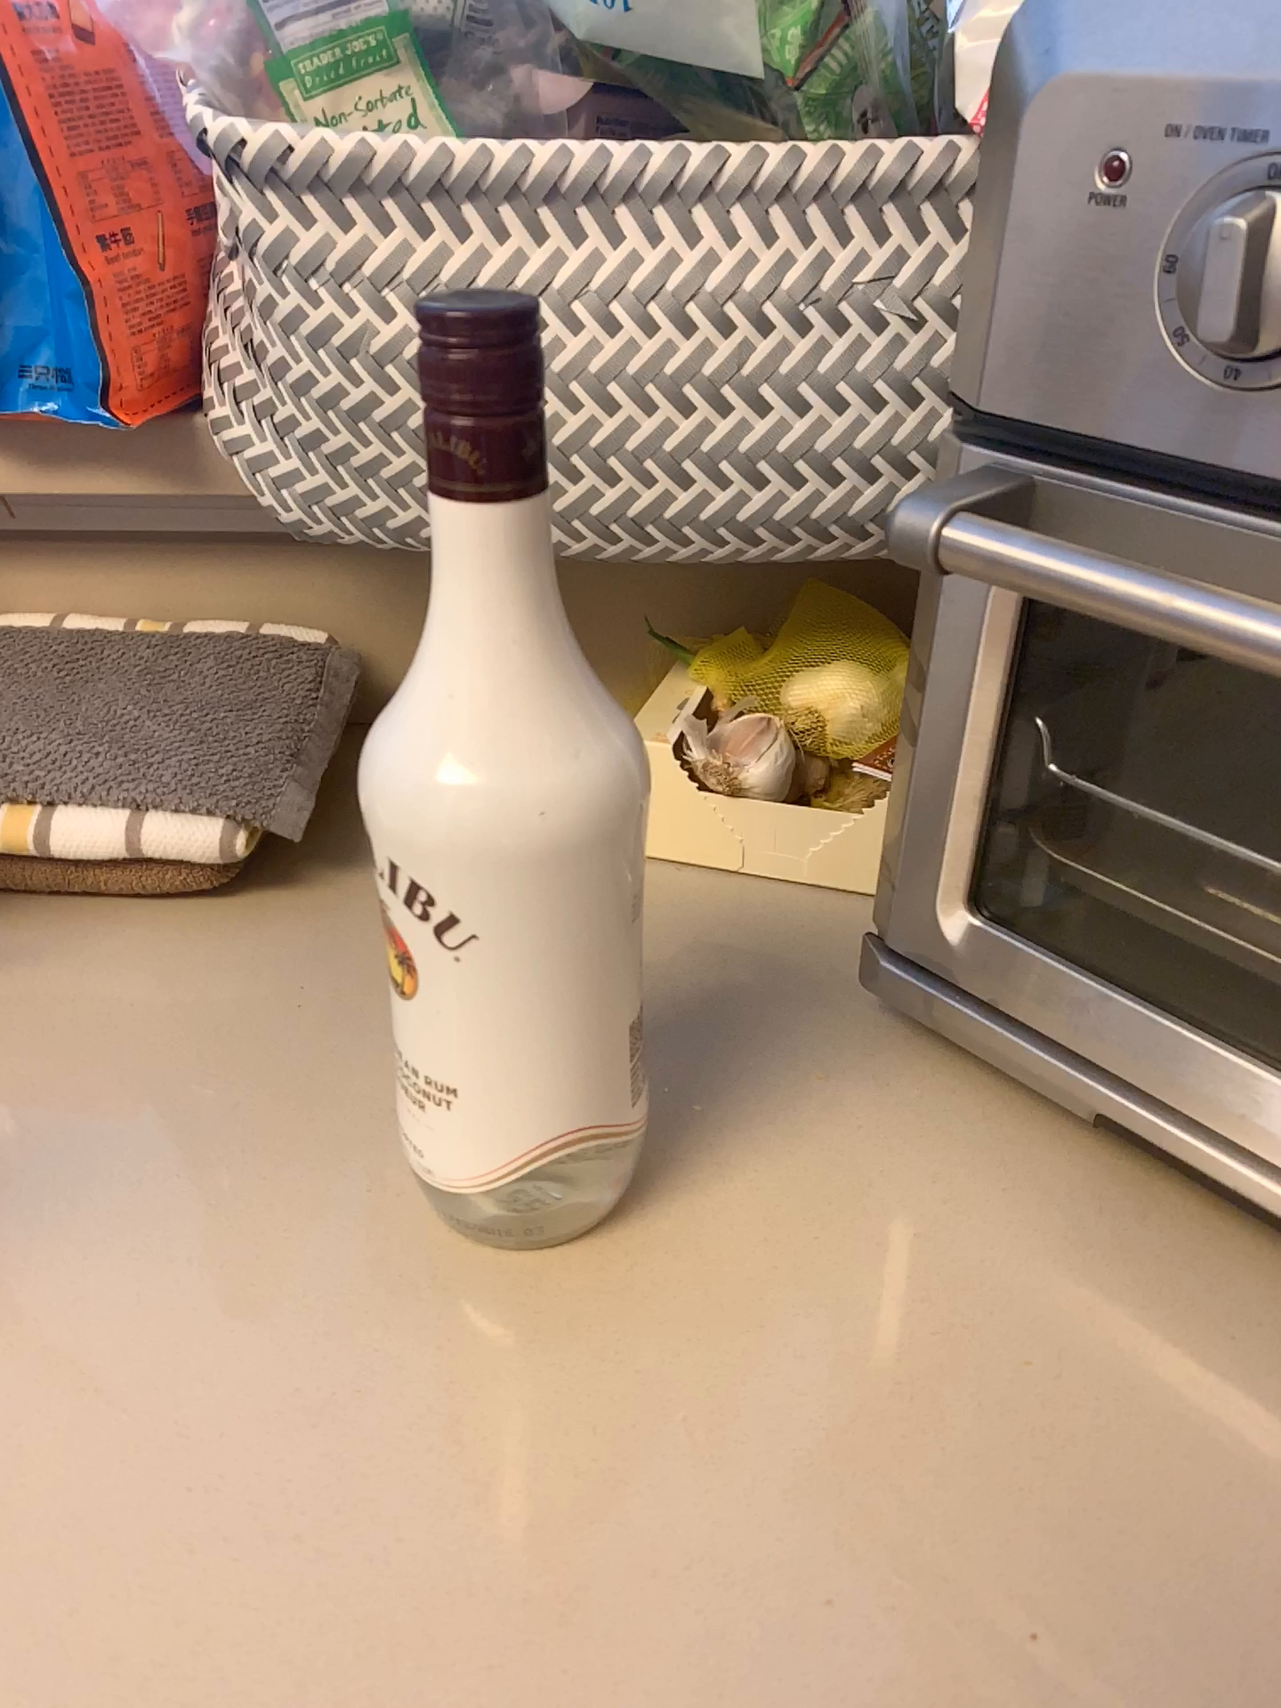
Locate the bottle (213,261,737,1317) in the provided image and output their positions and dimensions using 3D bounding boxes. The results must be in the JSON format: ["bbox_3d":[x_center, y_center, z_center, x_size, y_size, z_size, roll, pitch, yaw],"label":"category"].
[{"bbox_3d":[-0.037,-0.010,0.352,0.080,0.258,0.080,0,31,0],"label":"bottle"}]
